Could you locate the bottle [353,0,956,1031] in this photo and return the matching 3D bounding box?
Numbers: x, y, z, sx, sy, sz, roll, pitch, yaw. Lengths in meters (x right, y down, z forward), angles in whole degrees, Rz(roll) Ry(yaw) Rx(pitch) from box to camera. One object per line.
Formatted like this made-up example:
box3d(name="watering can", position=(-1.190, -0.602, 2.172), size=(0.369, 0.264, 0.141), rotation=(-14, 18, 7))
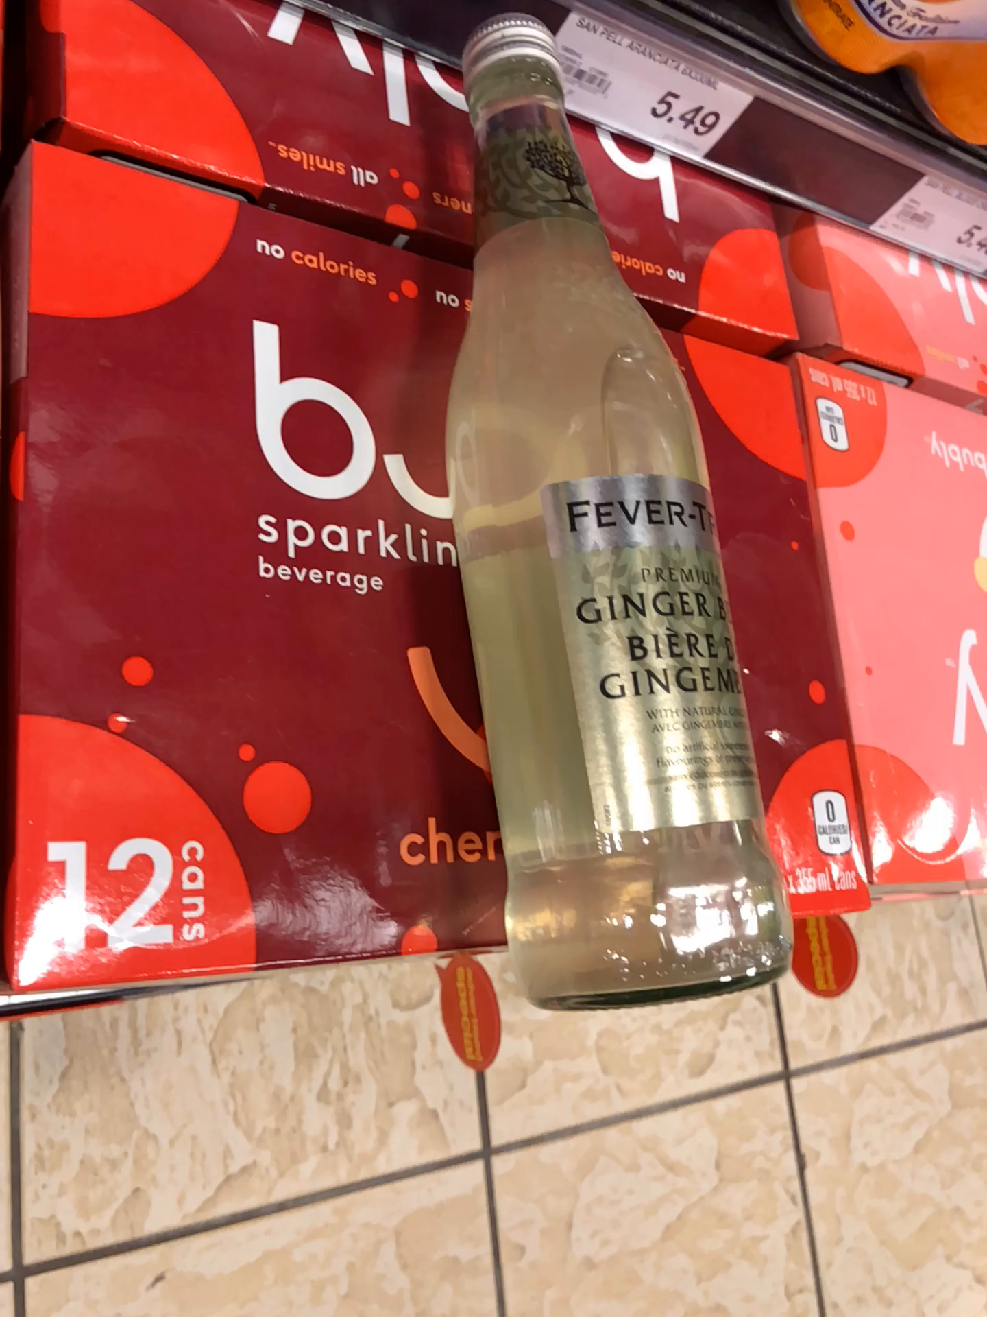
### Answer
box3d(name="bottle", position=(0.031, -0.054, 0.280), size=(0.080, 0.080, 0.270), rotation=(1, 76, -34))
